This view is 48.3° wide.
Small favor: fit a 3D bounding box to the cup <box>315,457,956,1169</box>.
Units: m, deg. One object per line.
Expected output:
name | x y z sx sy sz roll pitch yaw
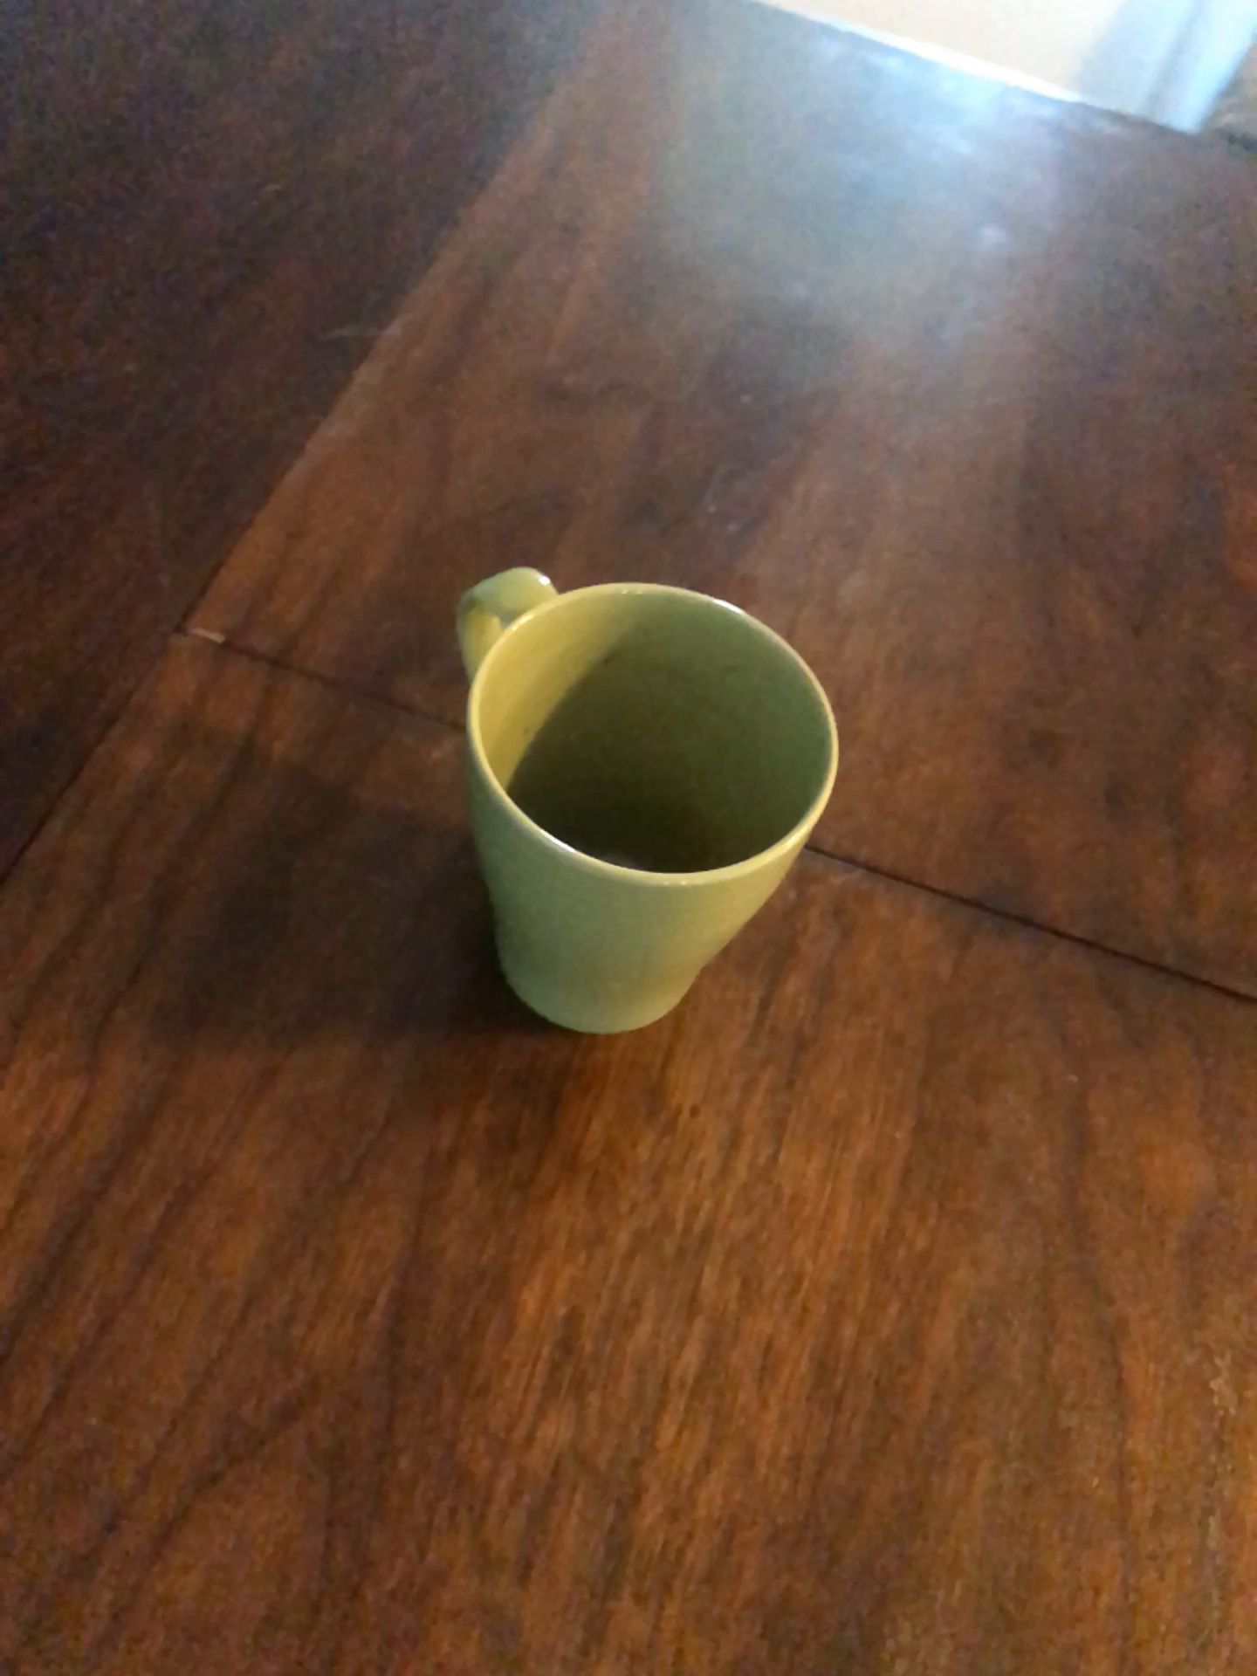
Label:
cup | -0.006 -0.007 0.339 0.090 0.090 0.120 -24 64 -23
